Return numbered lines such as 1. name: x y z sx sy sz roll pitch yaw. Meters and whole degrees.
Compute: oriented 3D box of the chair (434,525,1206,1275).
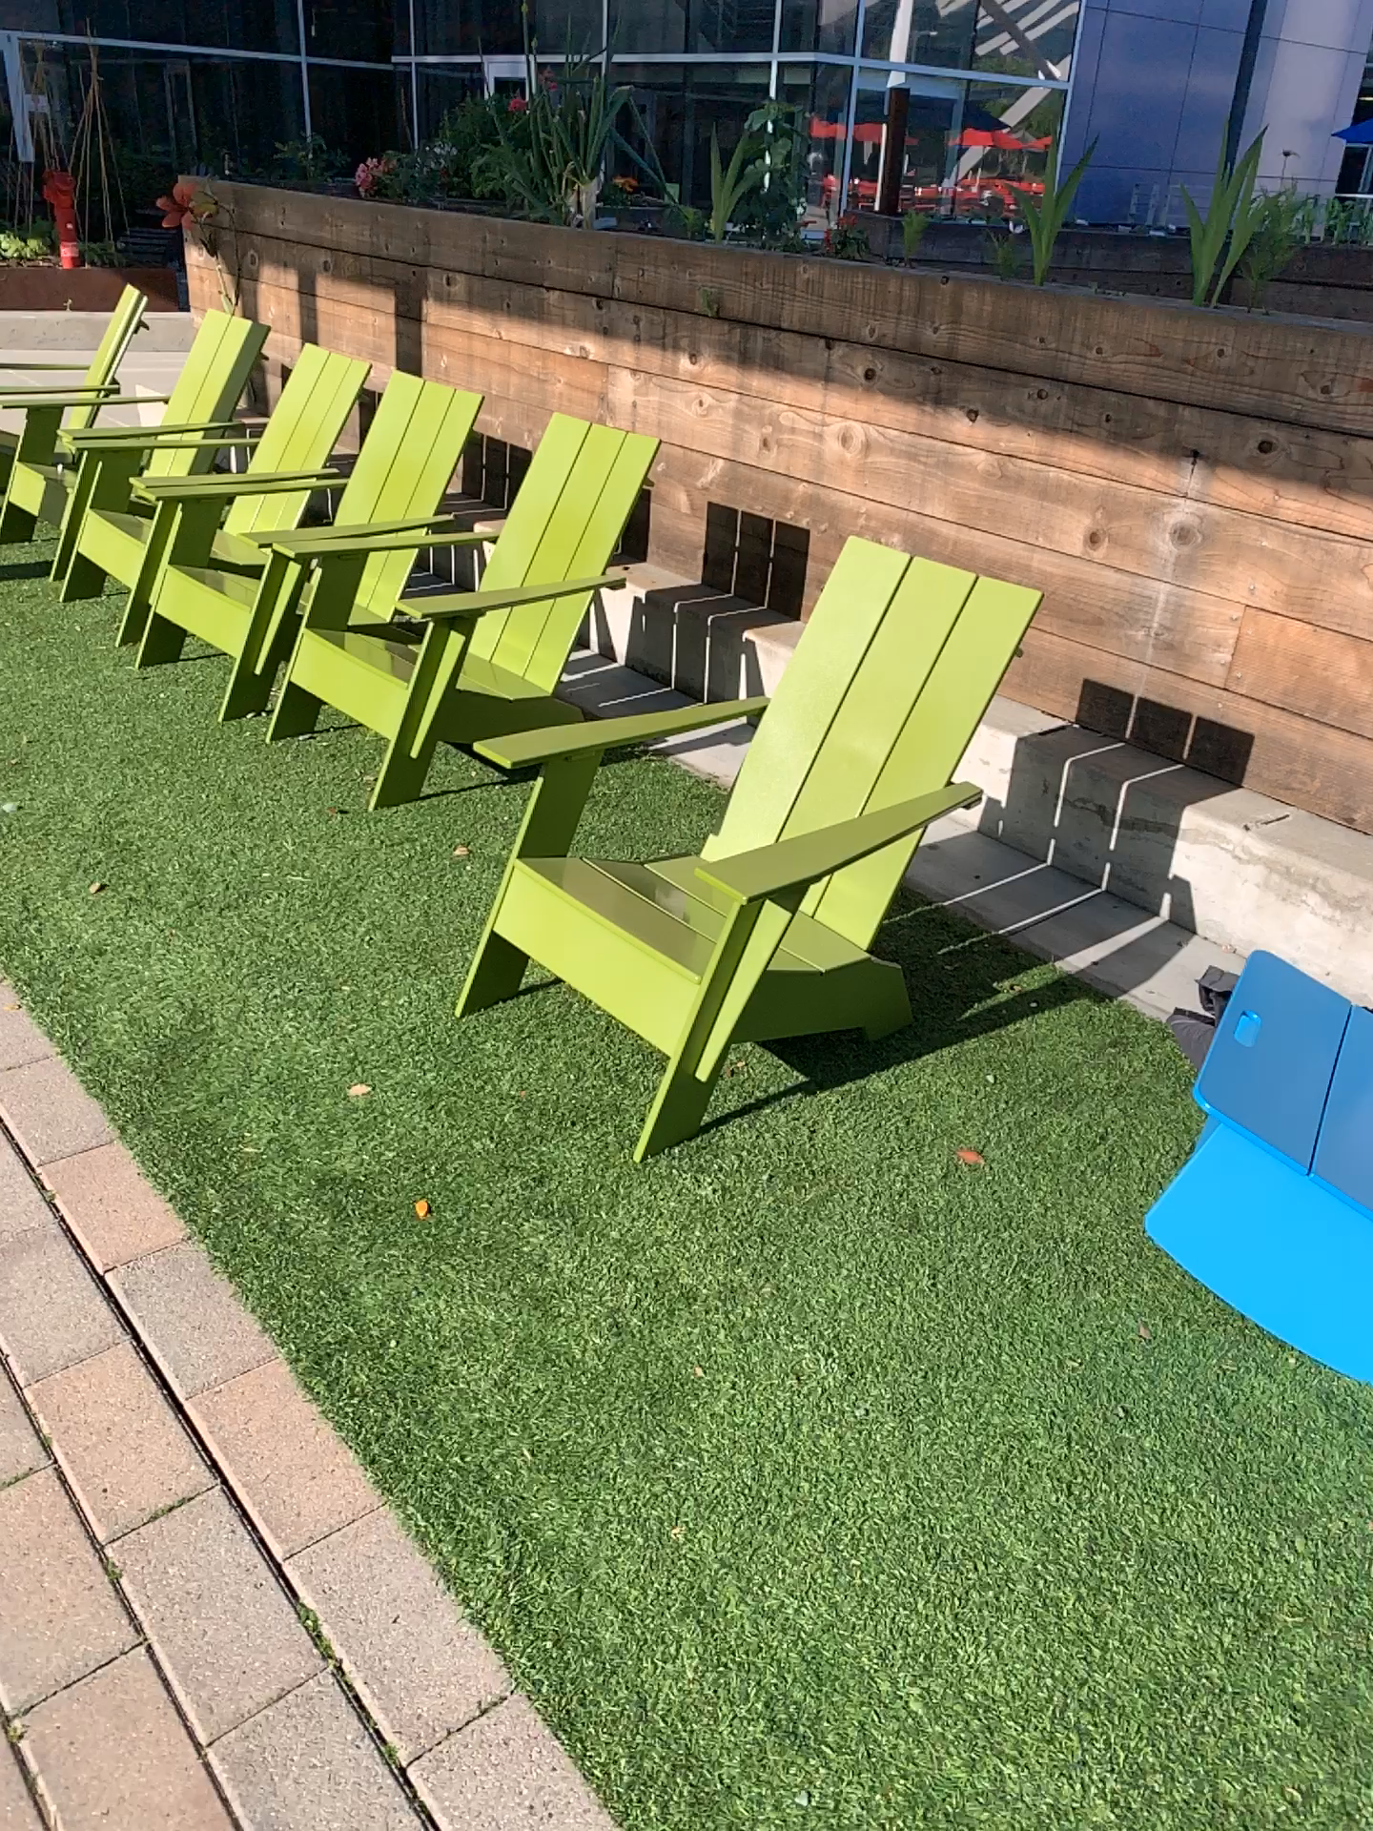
1. chair: 0.201 -0.126 2.582 1.001 0.895 0.854 -18 35 -35
